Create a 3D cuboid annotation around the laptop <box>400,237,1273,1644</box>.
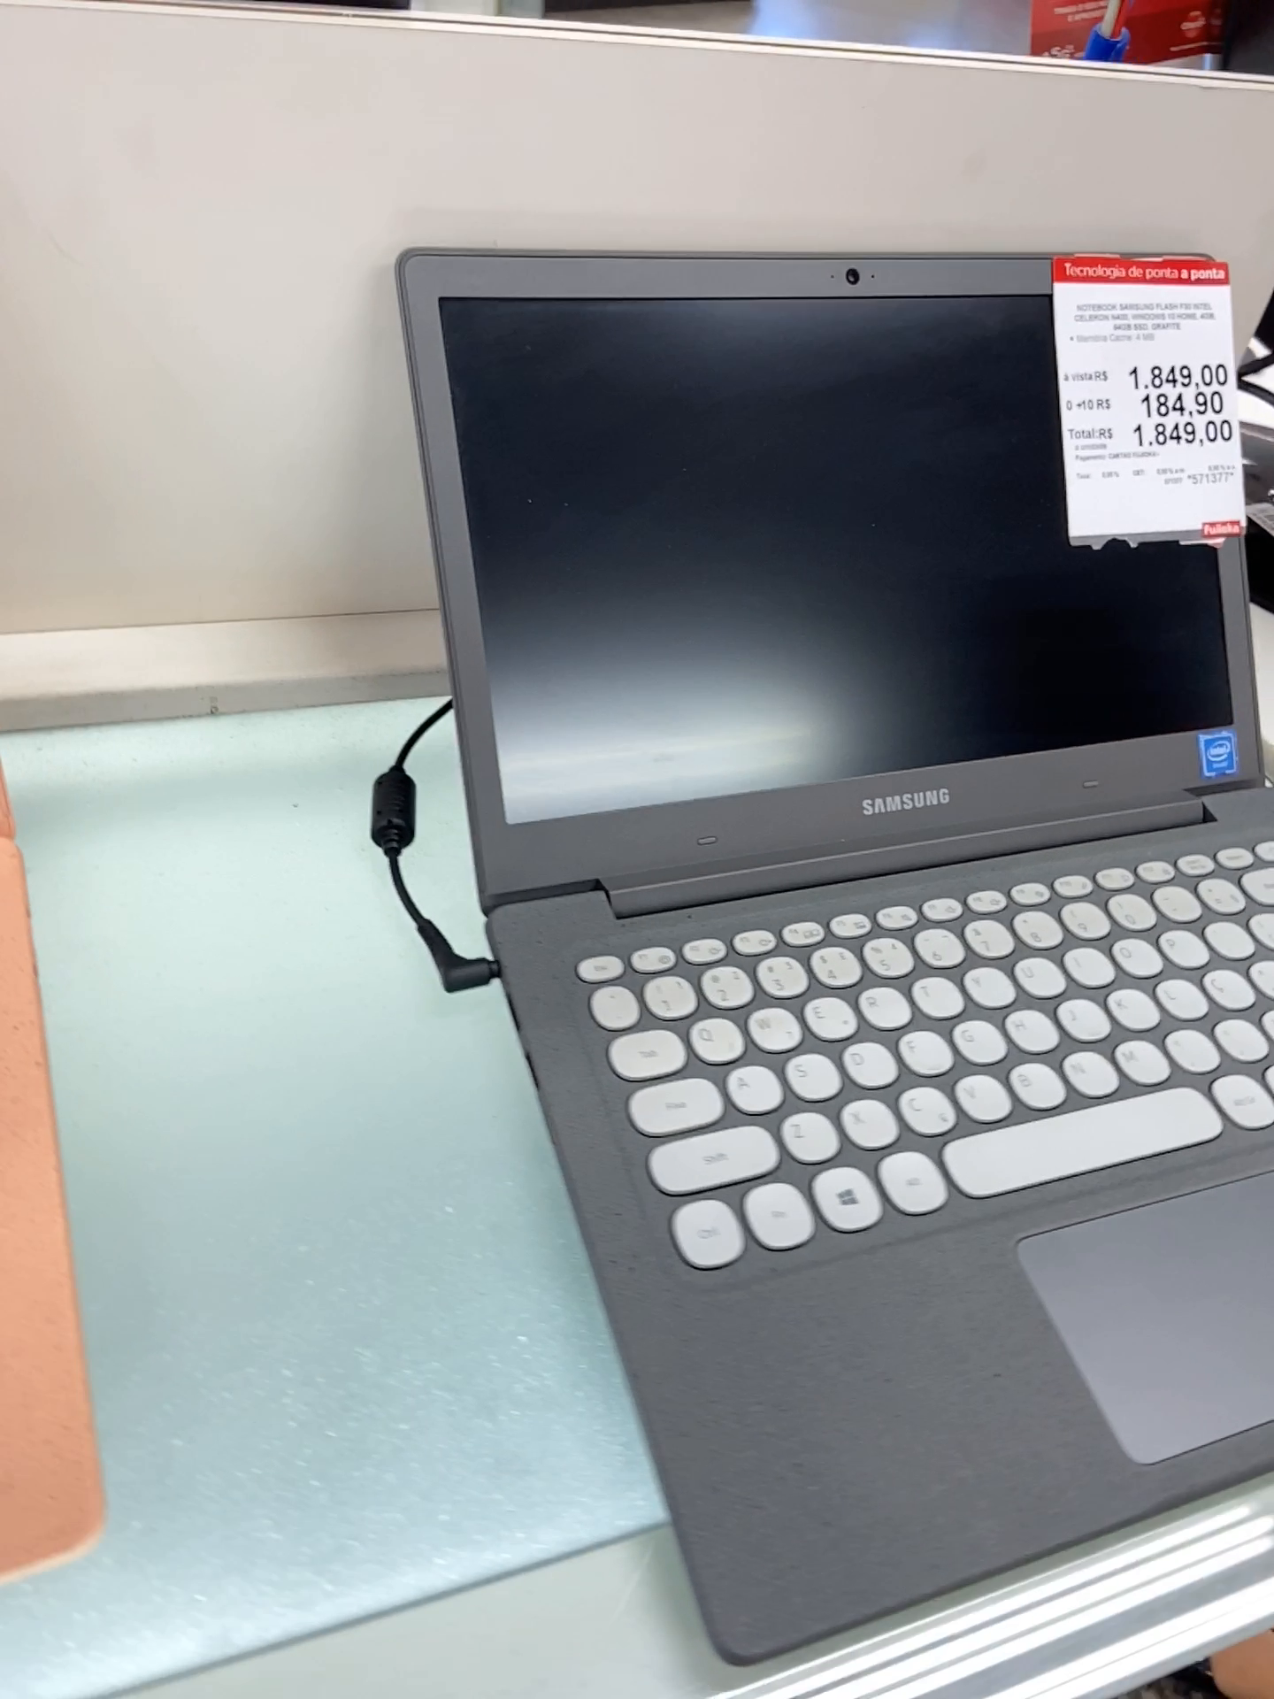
[{"bbox_3d":[0.122,-0.033,0.397,0.320,0.144,0.365,-8,48,-18],"label":"laptop"}]
